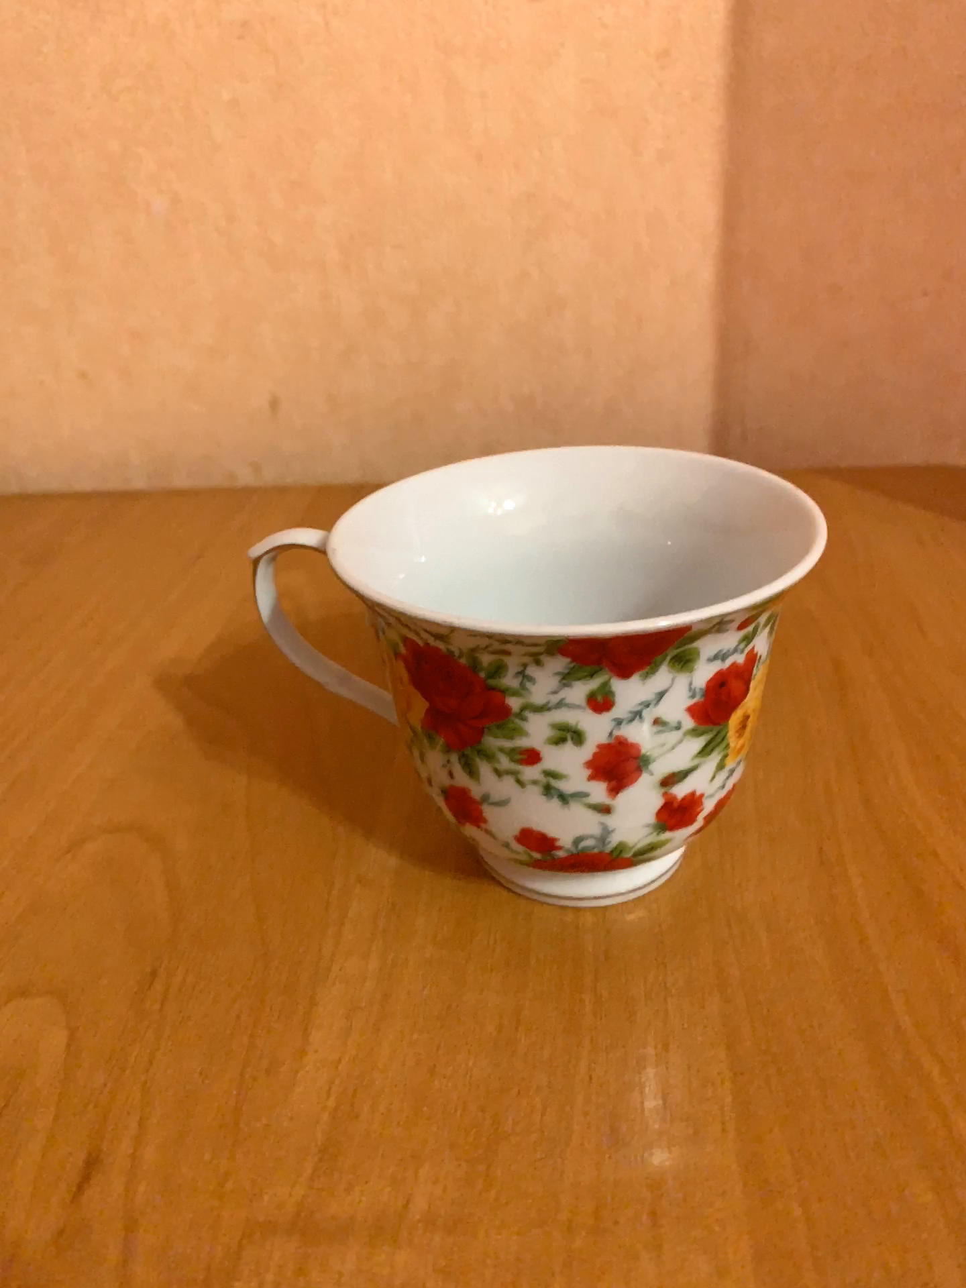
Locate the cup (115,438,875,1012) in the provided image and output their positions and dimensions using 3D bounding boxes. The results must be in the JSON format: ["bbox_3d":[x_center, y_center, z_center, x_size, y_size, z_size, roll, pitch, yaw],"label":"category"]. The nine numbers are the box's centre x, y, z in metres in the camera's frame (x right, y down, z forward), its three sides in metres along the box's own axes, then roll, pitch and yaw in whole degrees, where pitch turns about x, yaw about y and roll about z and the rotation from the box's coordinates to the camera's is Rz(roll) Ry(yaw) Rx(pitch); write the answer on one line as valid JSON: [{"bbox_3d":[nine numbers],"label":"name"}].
[{"bbox_3d":[0.011,0.005,0.212,0.120,0.067,0.100,4,28,15],"label":"cup"}]
